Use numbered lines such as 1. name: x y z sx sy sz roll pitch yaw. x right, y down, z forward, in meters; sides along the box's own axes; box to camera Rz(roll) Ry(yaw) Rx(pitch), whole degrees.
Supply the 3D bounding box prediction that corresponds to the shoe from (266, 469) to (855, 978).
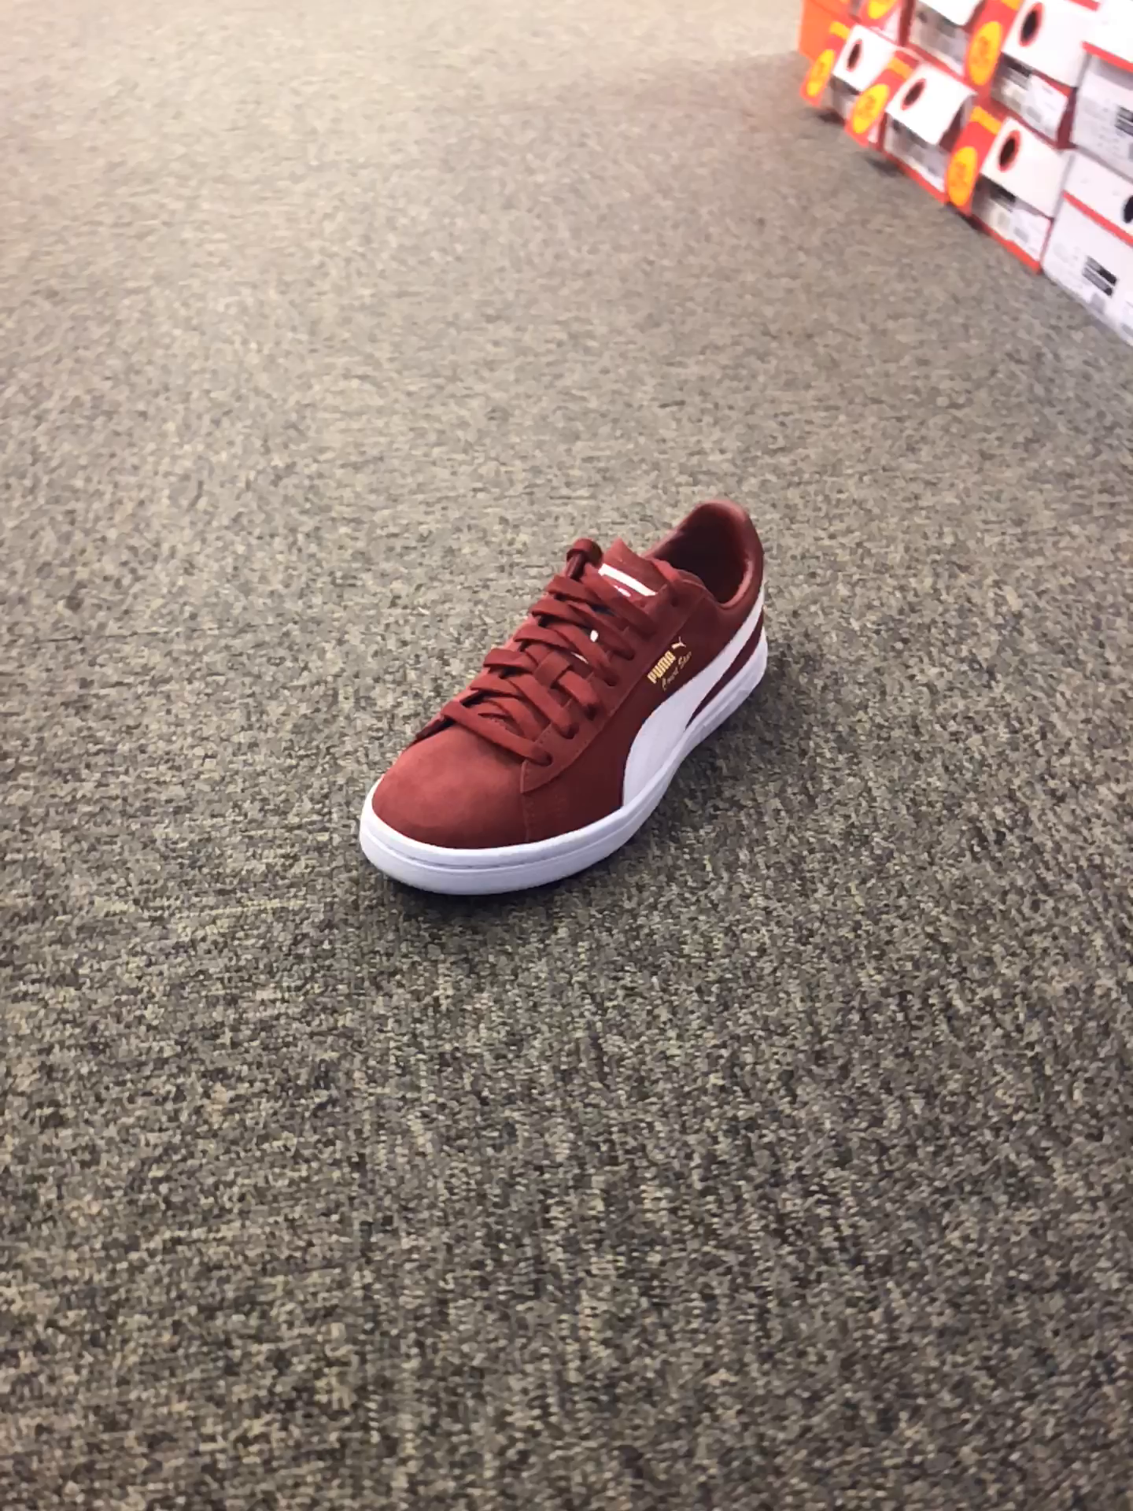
1. shoe: 0.008 -0.028 0.539 0.100 0.080 0.251 31 48 30
